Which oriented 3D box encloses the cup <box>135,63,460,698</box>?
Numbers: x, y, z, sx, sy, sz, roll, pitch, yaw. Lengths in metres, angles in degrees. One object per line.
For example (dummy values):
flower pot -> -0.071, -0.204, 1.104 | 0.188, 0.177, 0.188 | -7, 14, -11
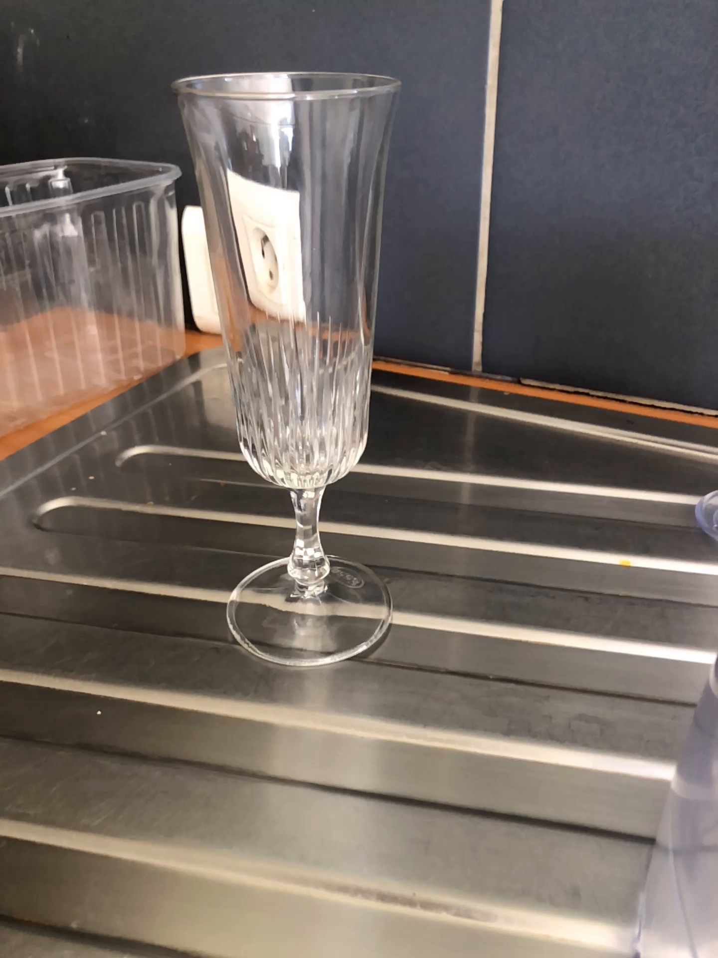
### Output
cup -> -0.015, -0.027, 0.239 | 0.060, 0.169, 0.060 | -1, 29, 1
